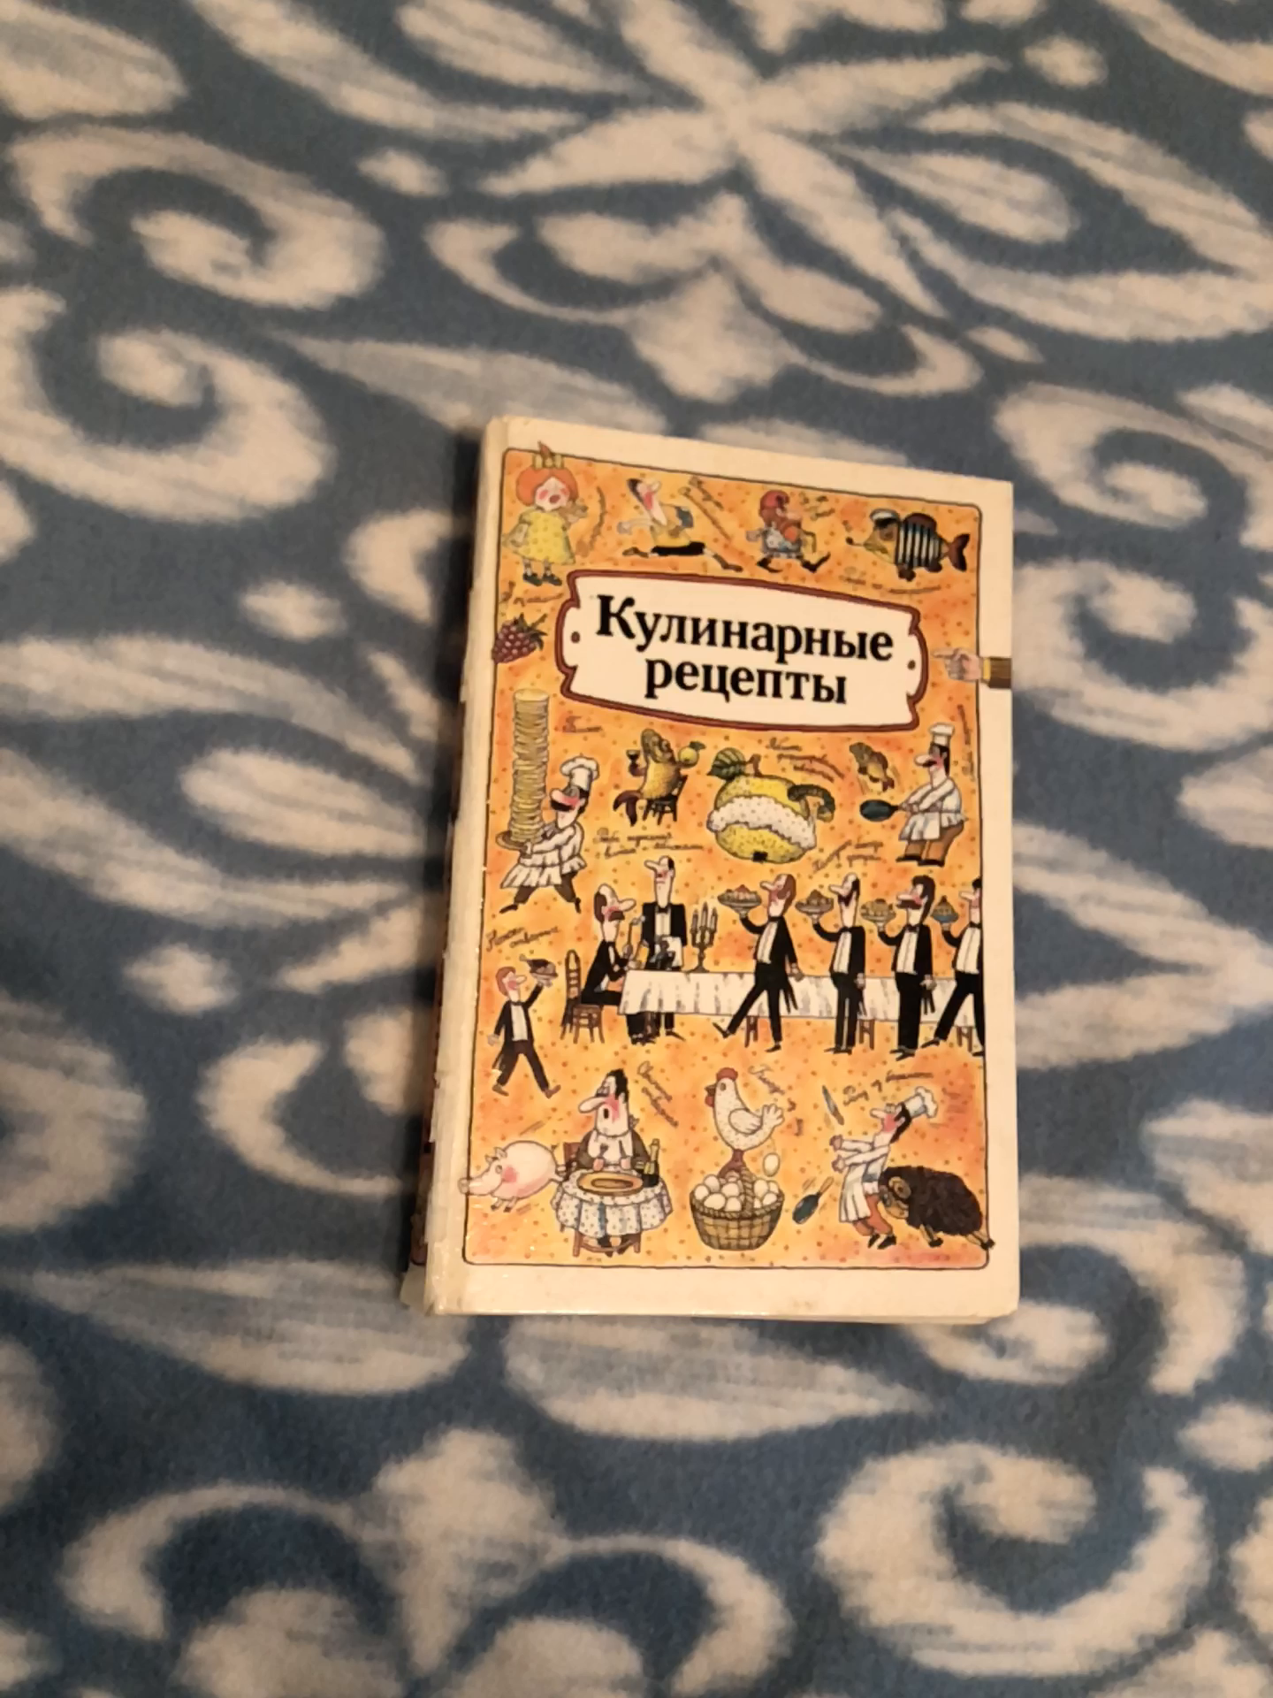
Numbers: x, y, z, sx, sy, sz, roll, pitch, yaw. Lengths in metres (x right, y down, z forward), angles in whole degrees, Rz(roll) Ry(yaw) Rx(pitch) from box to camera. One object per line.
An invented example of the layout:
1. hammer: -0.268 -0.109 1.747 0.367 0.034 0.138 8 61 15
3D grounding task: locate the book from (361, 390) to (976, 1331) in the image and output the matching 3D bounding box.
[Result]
1. book: 0.010 0.003 0.354 0.142 0.032 0.220 4 79 -11
